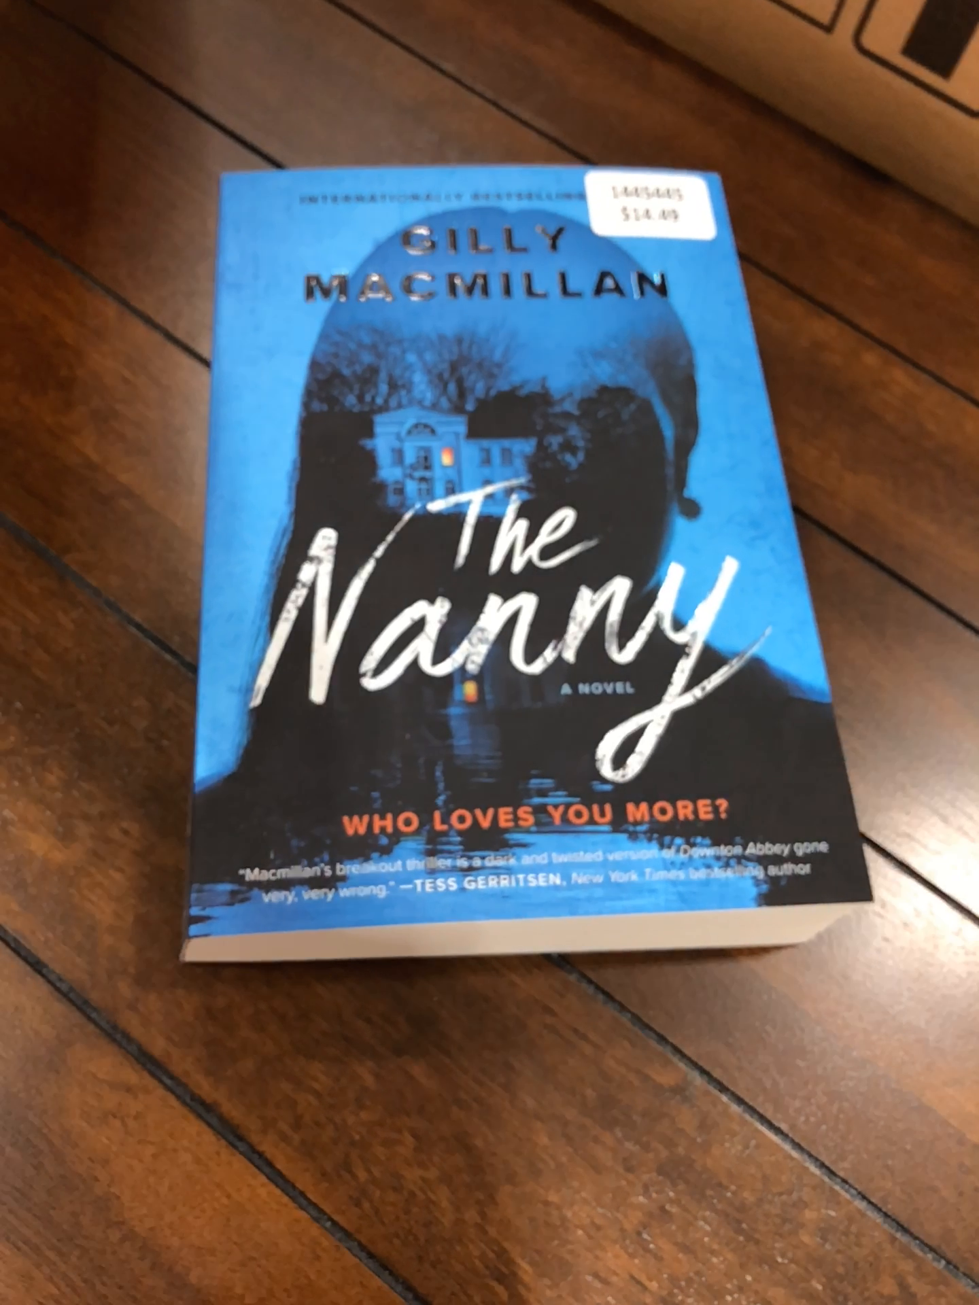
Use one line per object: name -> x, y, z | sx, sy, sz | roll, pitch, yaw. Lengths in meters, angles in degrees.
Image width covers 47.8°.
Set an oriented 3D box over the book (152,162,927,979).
book -> 0.007, -0.036, 0.298 | 0.160, 0.040, 0.230 | -1, 62, -3
